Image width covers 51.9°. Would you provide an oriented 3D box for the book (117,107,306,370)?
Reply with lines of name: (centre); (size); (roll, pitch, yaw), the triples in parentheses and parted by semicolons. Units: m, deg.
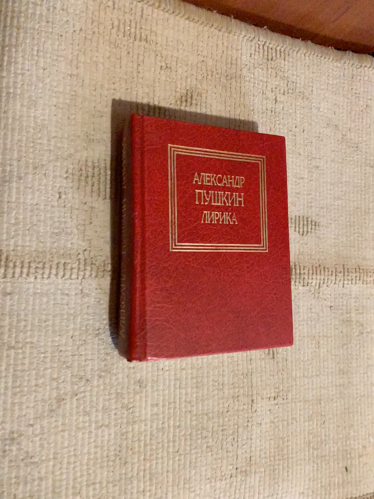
book: (0.018, -0.005, 0.255); (0.119, 0.034, 0.148); (2, 85, -23)
